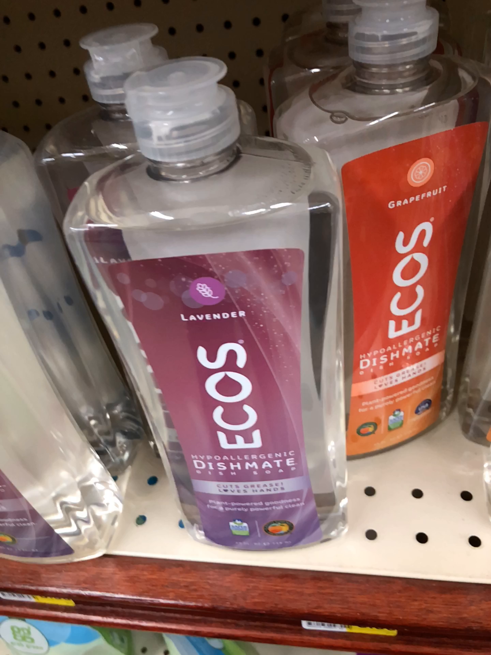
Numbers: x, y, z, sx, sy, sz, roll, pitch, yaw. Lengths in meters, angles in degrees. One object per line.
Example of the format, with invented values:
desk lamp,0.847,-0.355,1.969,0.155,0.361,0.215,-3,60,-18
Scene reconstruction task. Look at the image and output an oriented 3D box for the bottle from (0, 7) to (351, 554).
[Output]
bottle,-0.004,0.016,0.227,0.090,0.244,0.048,-3,44,8
